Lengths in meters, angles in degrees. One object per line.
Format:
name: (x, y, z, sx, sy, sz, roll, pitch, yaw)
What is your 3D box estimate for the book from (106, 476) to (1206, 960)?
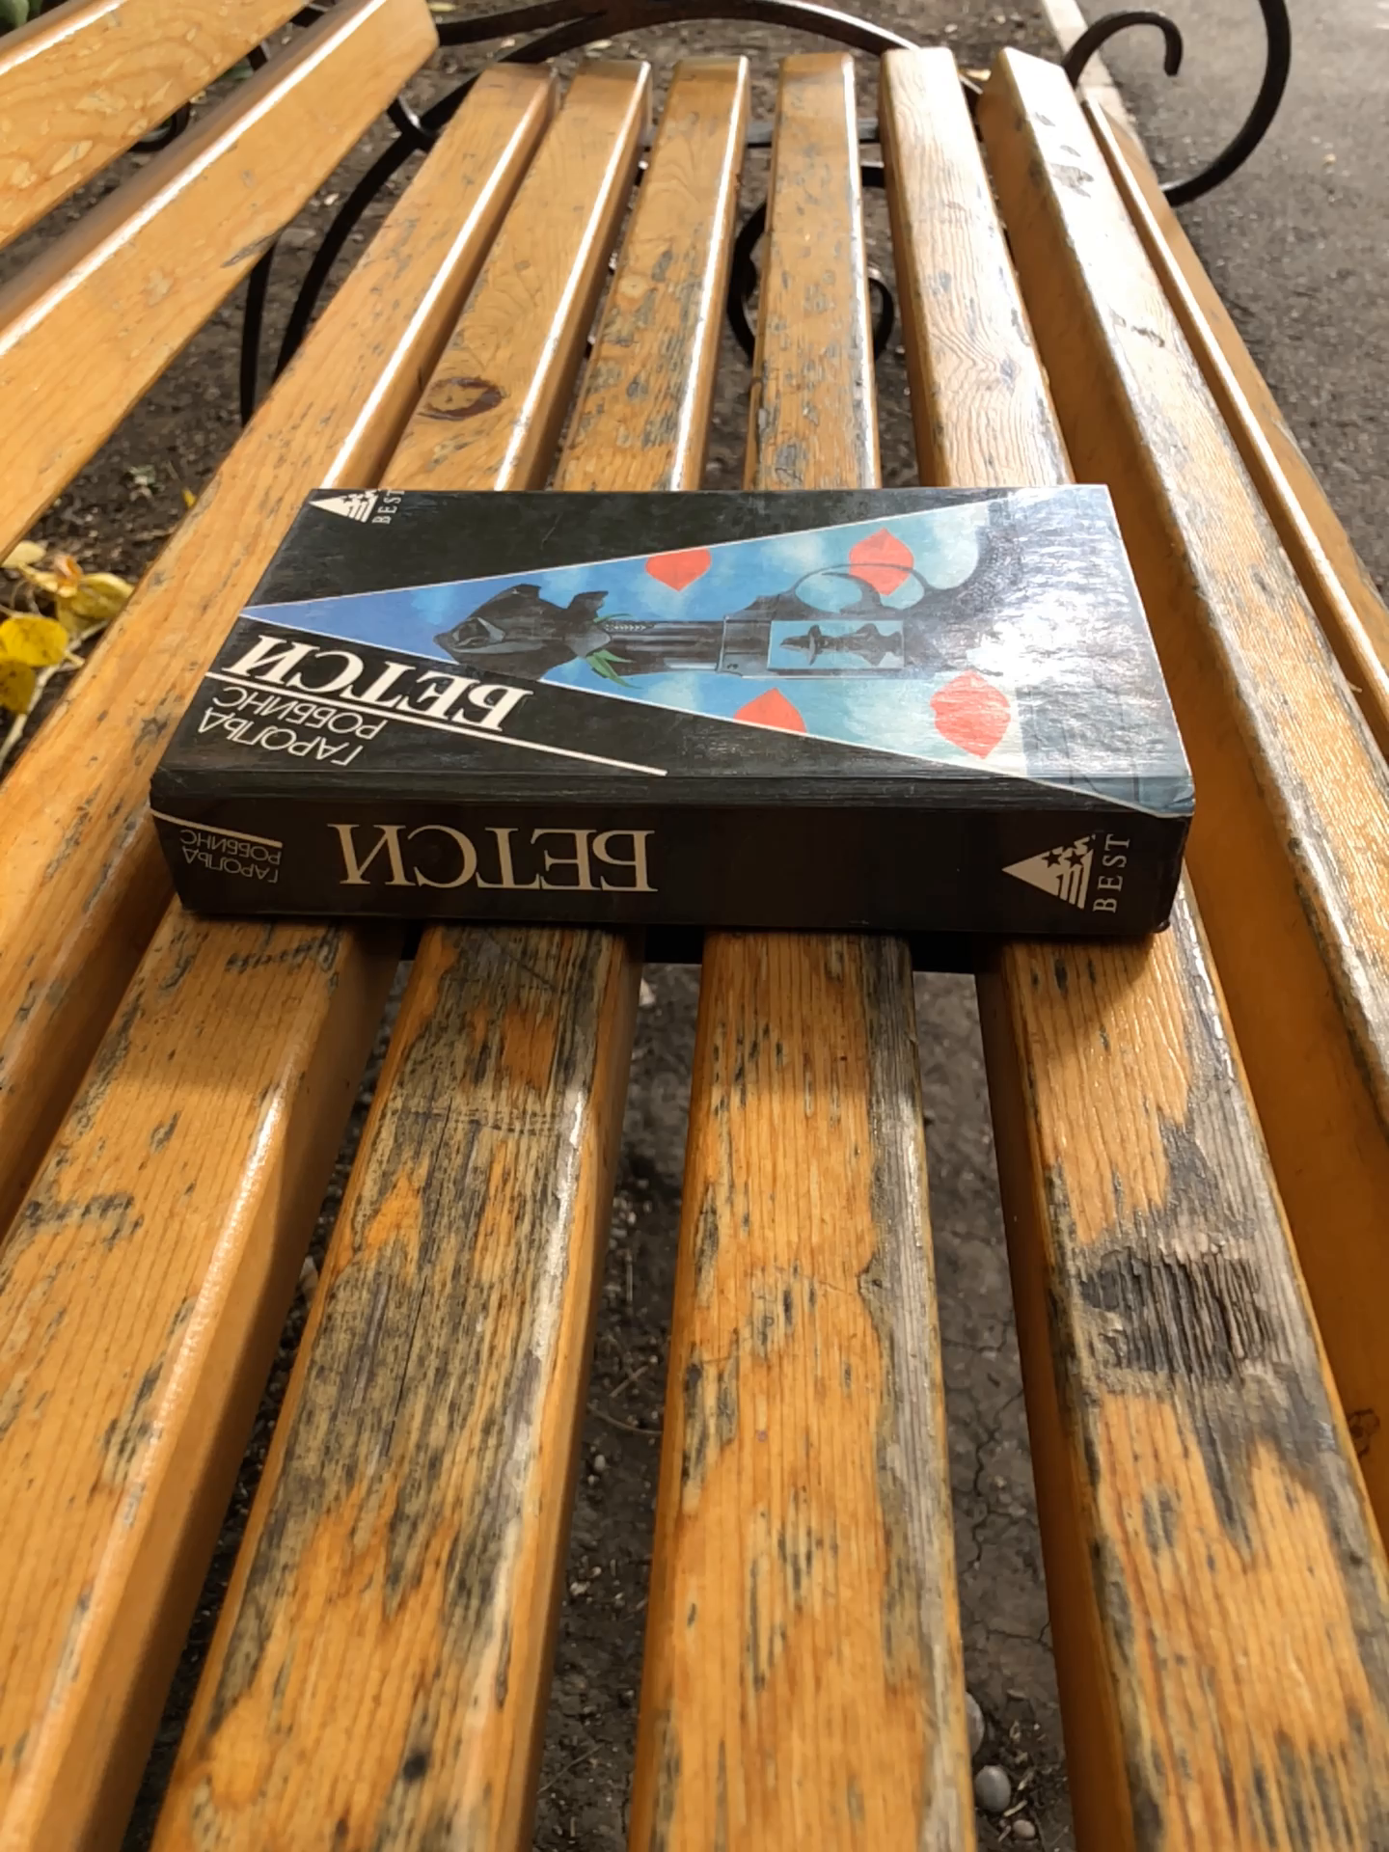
book: (-0.005, -0.055, 0.357, 0.210, 0.045, 0.130, 1, 40, 3)
